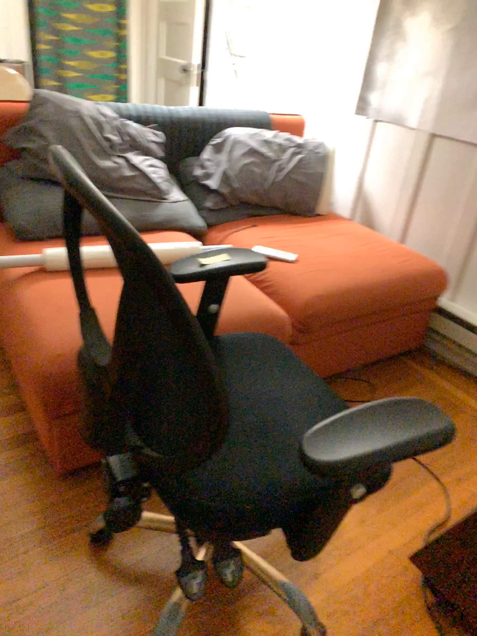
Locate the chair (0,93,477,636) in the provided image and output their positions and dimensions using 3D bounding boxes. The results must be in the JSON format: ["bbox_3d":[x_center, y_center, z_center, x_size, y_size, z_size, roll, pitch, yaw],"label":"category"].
[{"bbox_3d":[-0.046,0.129,0.974,0.660,0.974,0.644,-11,34,-21],"label":"chair"}]
